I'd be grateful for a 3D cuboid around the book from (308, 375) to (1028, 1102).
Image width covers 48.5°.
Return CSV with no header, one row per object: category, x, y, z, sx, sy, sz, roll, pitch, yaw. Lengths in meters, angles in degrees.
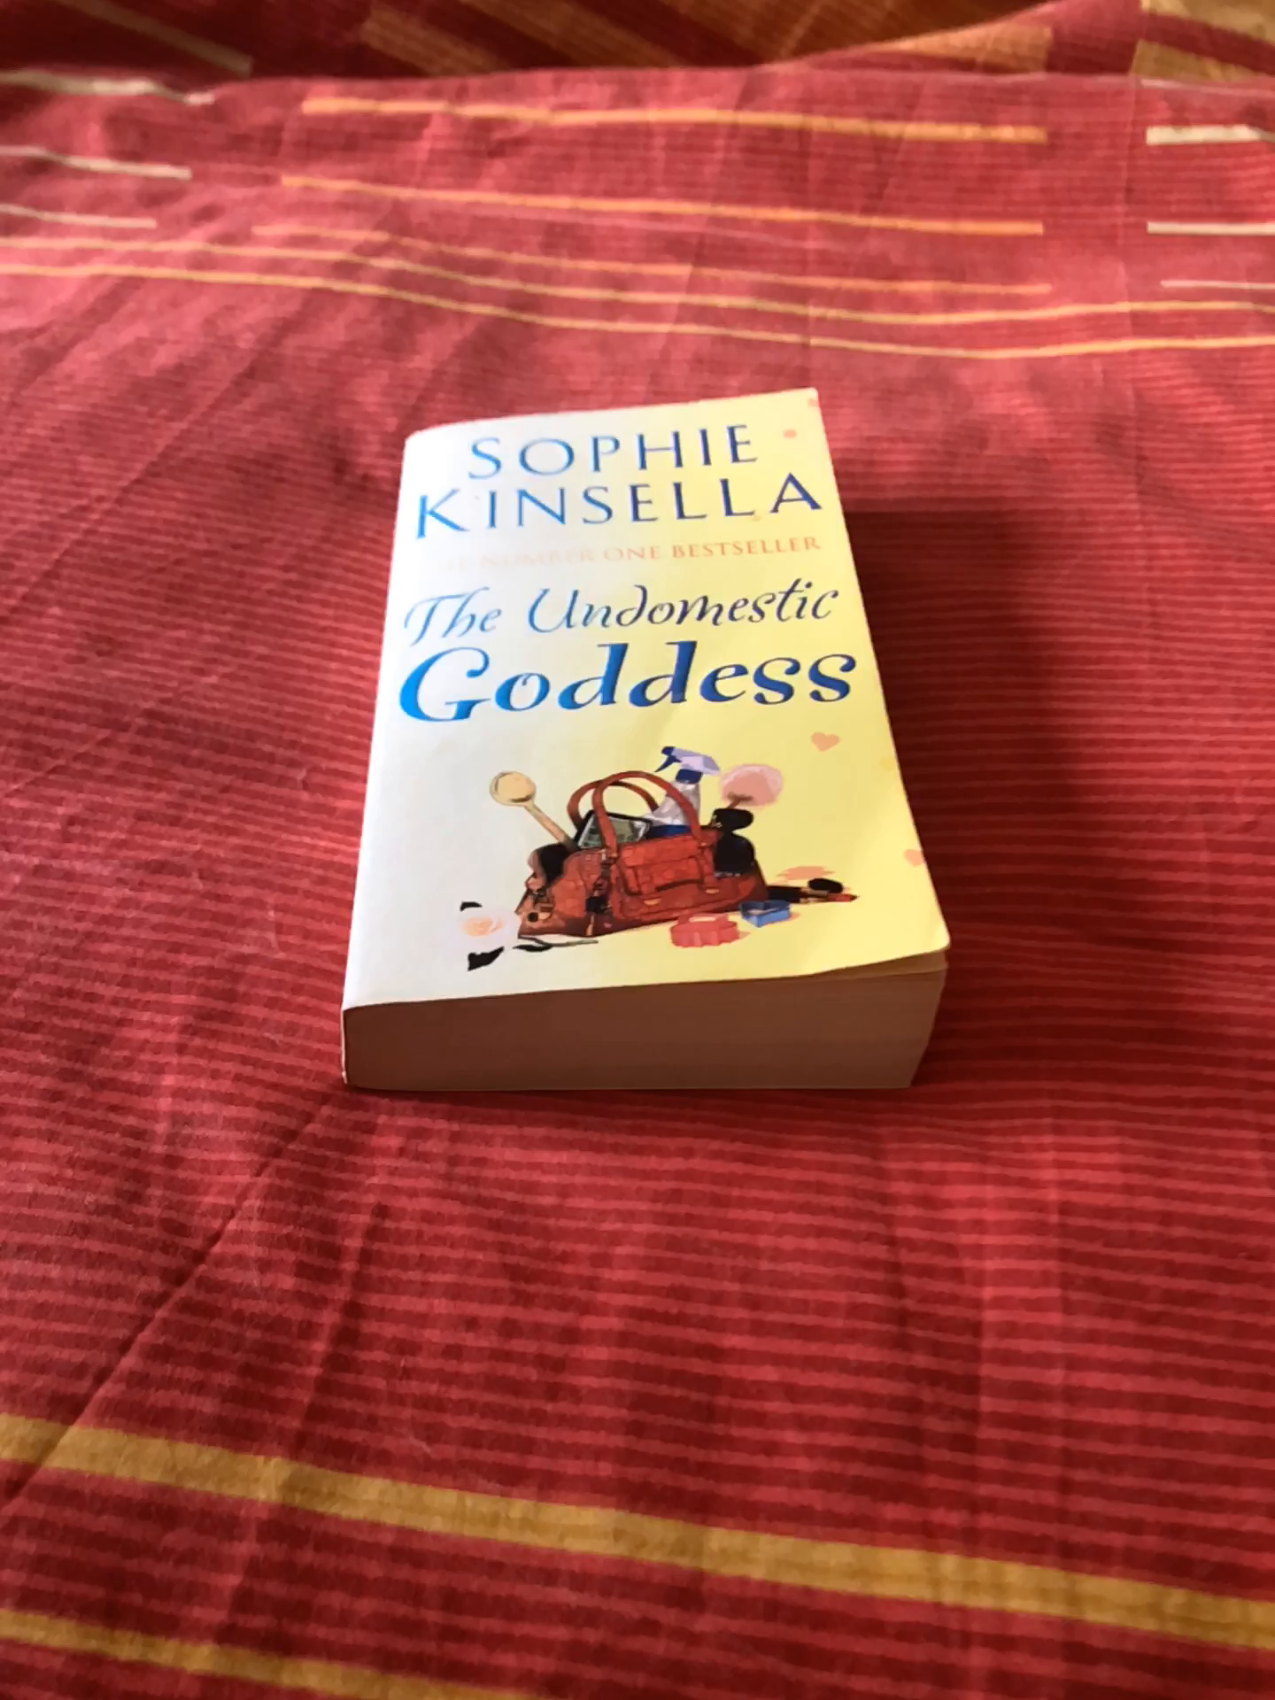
book,0.003,-0.036,0.310,0.120,0.040,0.181,-2,49,-1
